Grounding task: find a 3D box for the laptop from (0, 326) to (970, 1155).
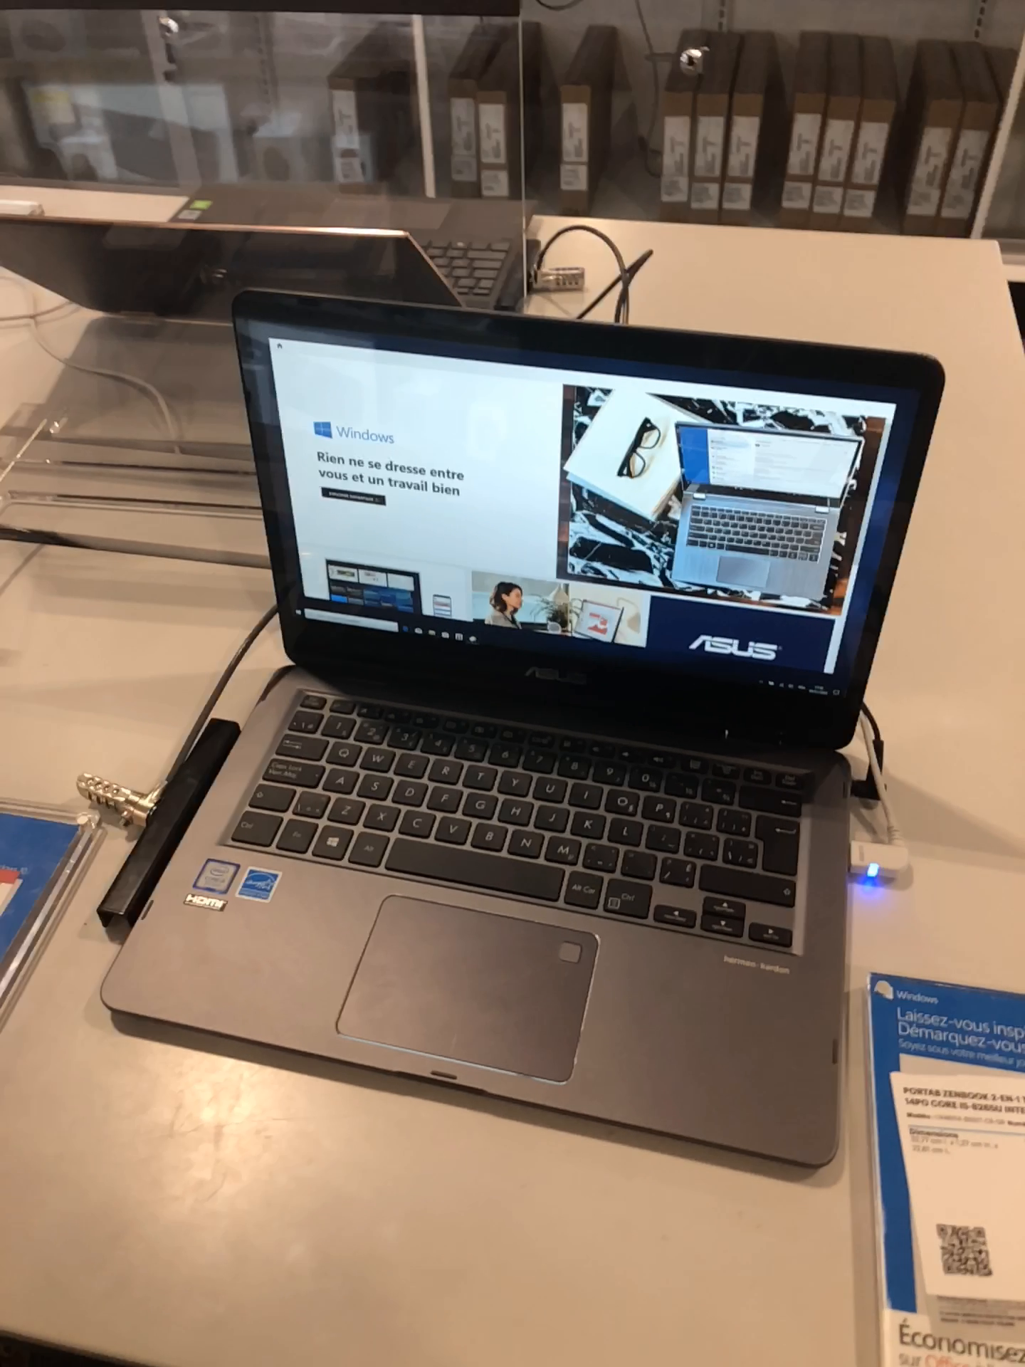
[{"bbox_3d":[-0.005,0.010,0.469,0.302,0.216,0.225,8,44,12],"label":"laptop"}]
